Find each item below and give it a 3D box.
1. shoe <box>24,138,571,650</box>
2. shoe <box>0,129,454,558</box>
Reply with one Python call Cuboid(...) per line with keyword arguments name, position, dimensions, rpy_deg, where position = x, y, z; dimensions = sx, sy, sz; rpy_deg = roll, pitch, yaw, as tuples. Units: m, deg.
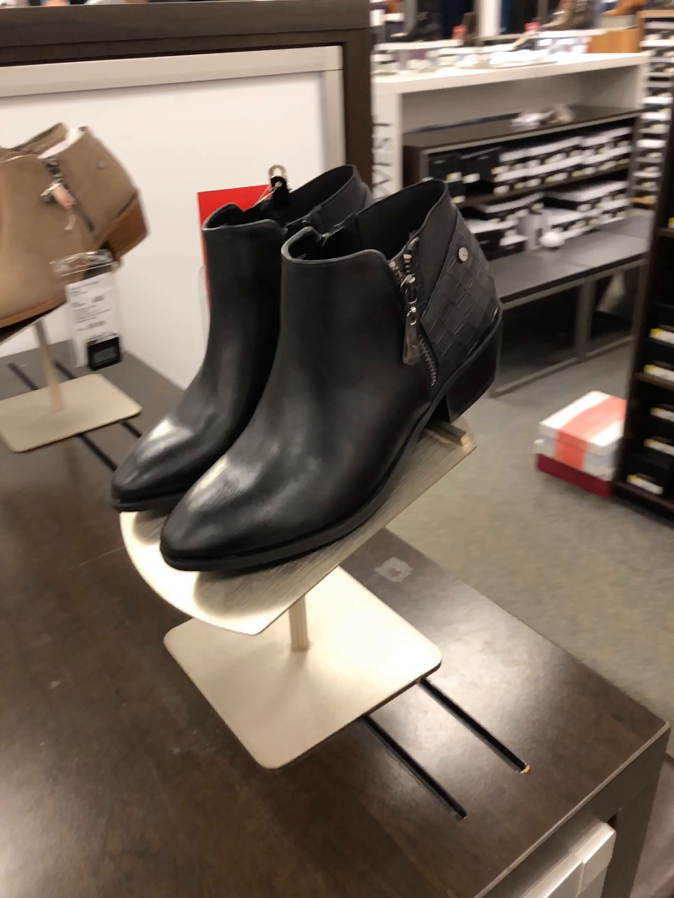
Cuboid(name="shoe", position=(-0.011, -0.039, 0.400), dimensions=(0.243, 0.131, 0.105), rpy_deg=(-38, 39, -13))
Cuboid(name="shoe", position=(-0.067, -0.074, 0.471), dimensions=(0.243, 0.131, 0.105), rpy_deg=(-38, 39, -13))
